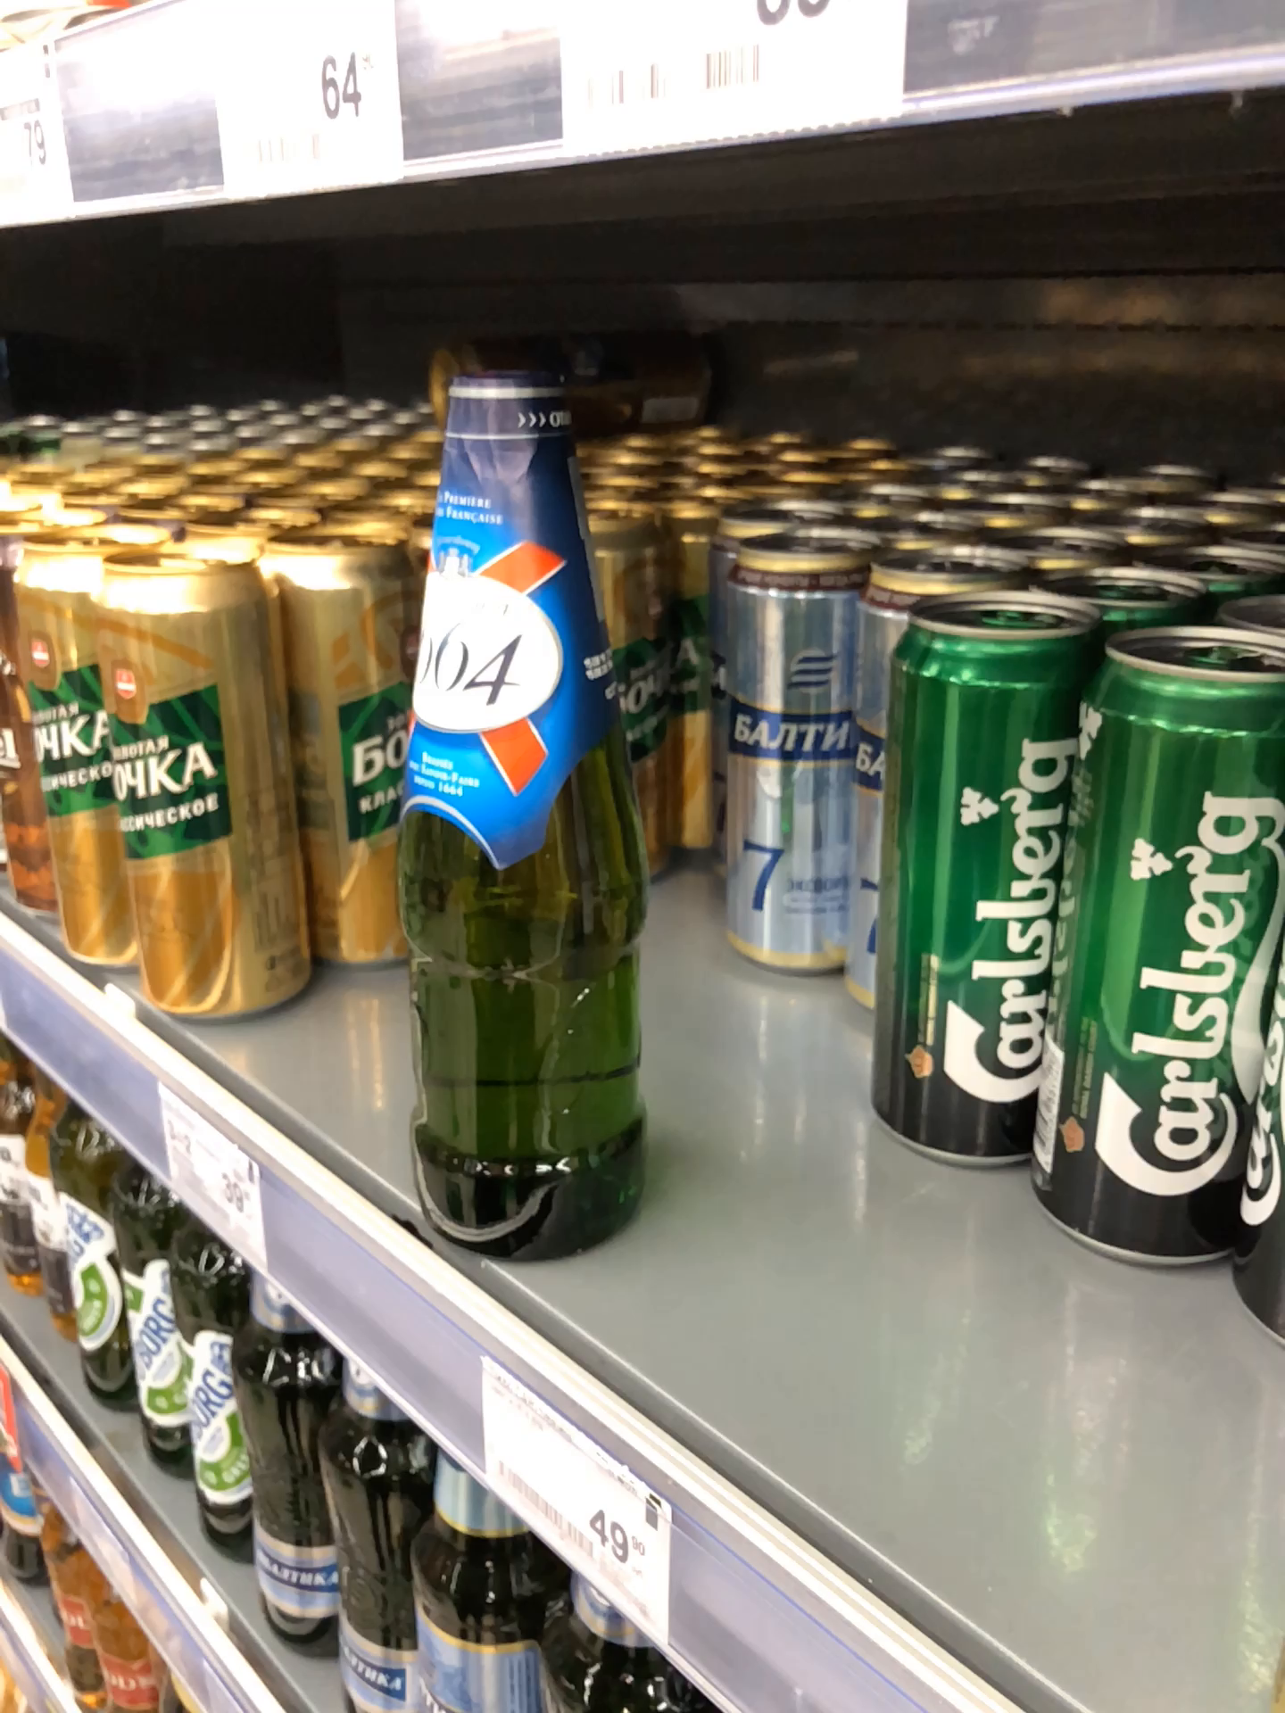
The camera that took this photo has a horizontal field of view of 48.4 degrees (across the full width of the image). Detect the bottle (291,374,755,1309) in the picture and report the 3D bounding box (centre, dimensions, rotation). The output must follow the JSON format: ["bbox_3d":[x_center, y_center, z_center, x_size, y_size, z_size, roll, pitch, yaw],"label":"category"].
[{"bbox_3d":[-0.029,-0.008,0.390,0.080,0.229,0.080,0,21,0],"label":"bottle"}]
